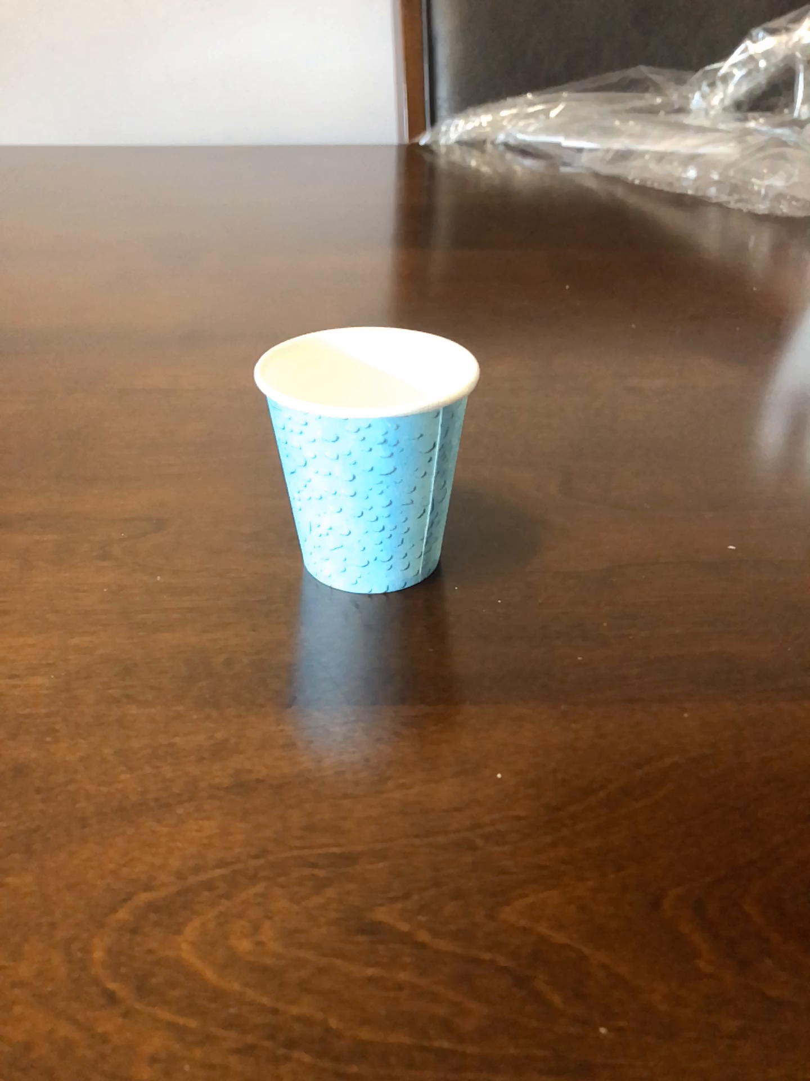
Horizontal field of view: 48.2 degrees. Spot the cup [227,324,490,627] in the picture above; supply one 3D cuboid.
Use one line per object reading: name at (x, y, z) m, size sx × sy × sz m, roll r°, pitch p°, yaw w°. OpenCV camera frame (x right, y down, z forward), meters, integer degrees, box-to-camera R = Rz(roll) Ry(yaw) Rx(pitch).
cup at (-0.012, -0.020, 0.248) m, size 0.060 × 0.060 × 0.060 m, roll 0°, pitch 32°, yaw 0°
